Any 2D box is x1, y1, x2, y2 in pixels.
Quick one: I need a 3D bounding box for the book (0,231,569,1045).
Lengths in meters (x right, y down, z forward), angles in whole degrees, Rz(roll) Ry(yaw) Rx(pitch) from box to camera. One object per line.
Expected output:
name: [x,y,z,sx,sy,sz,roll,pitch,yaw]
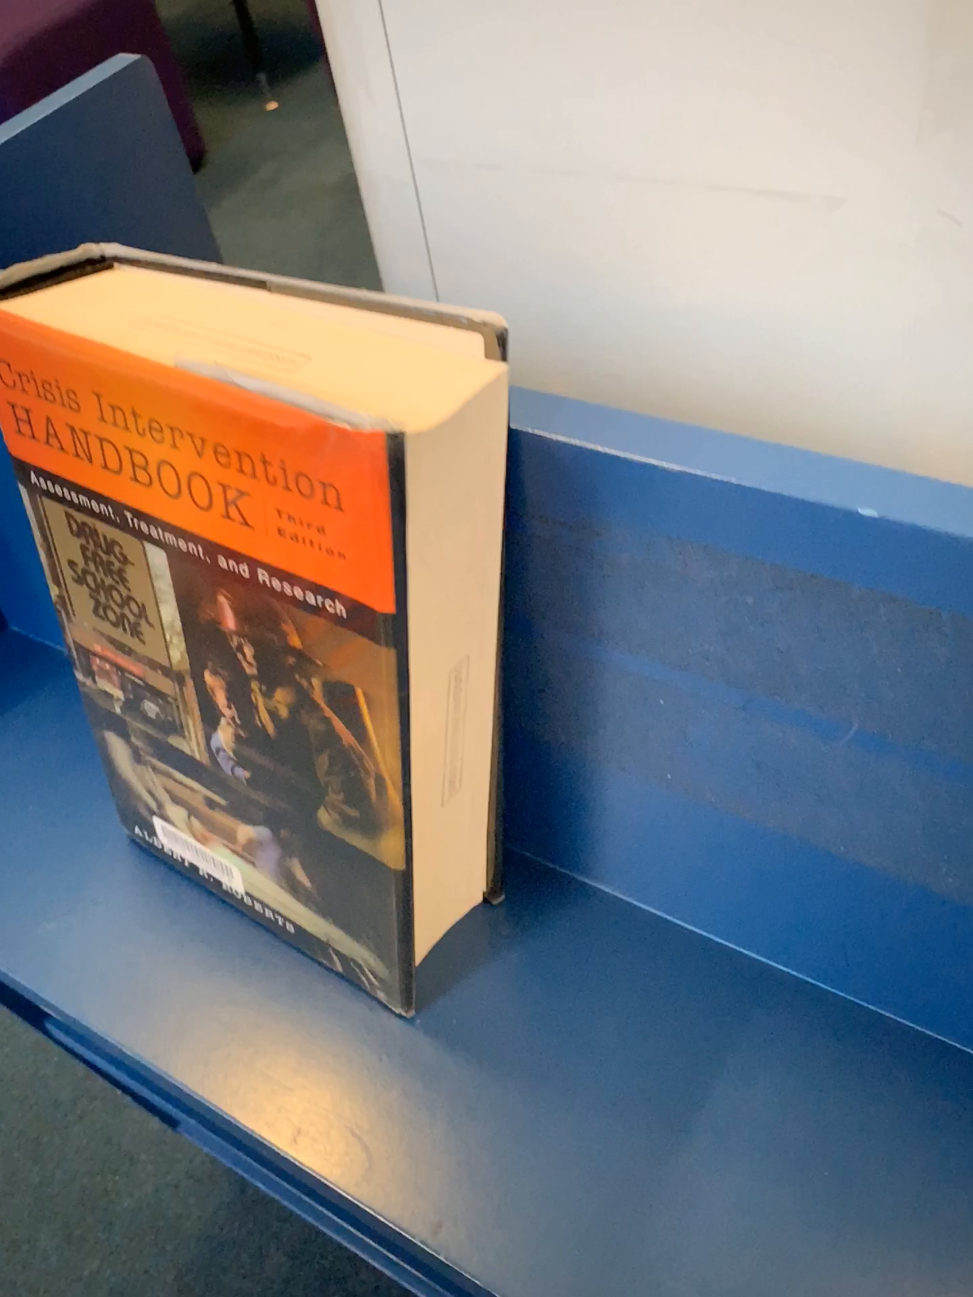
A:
book: [-0.076,-0.002,0.362,0.181,0.238,0.080,23,42,27]
